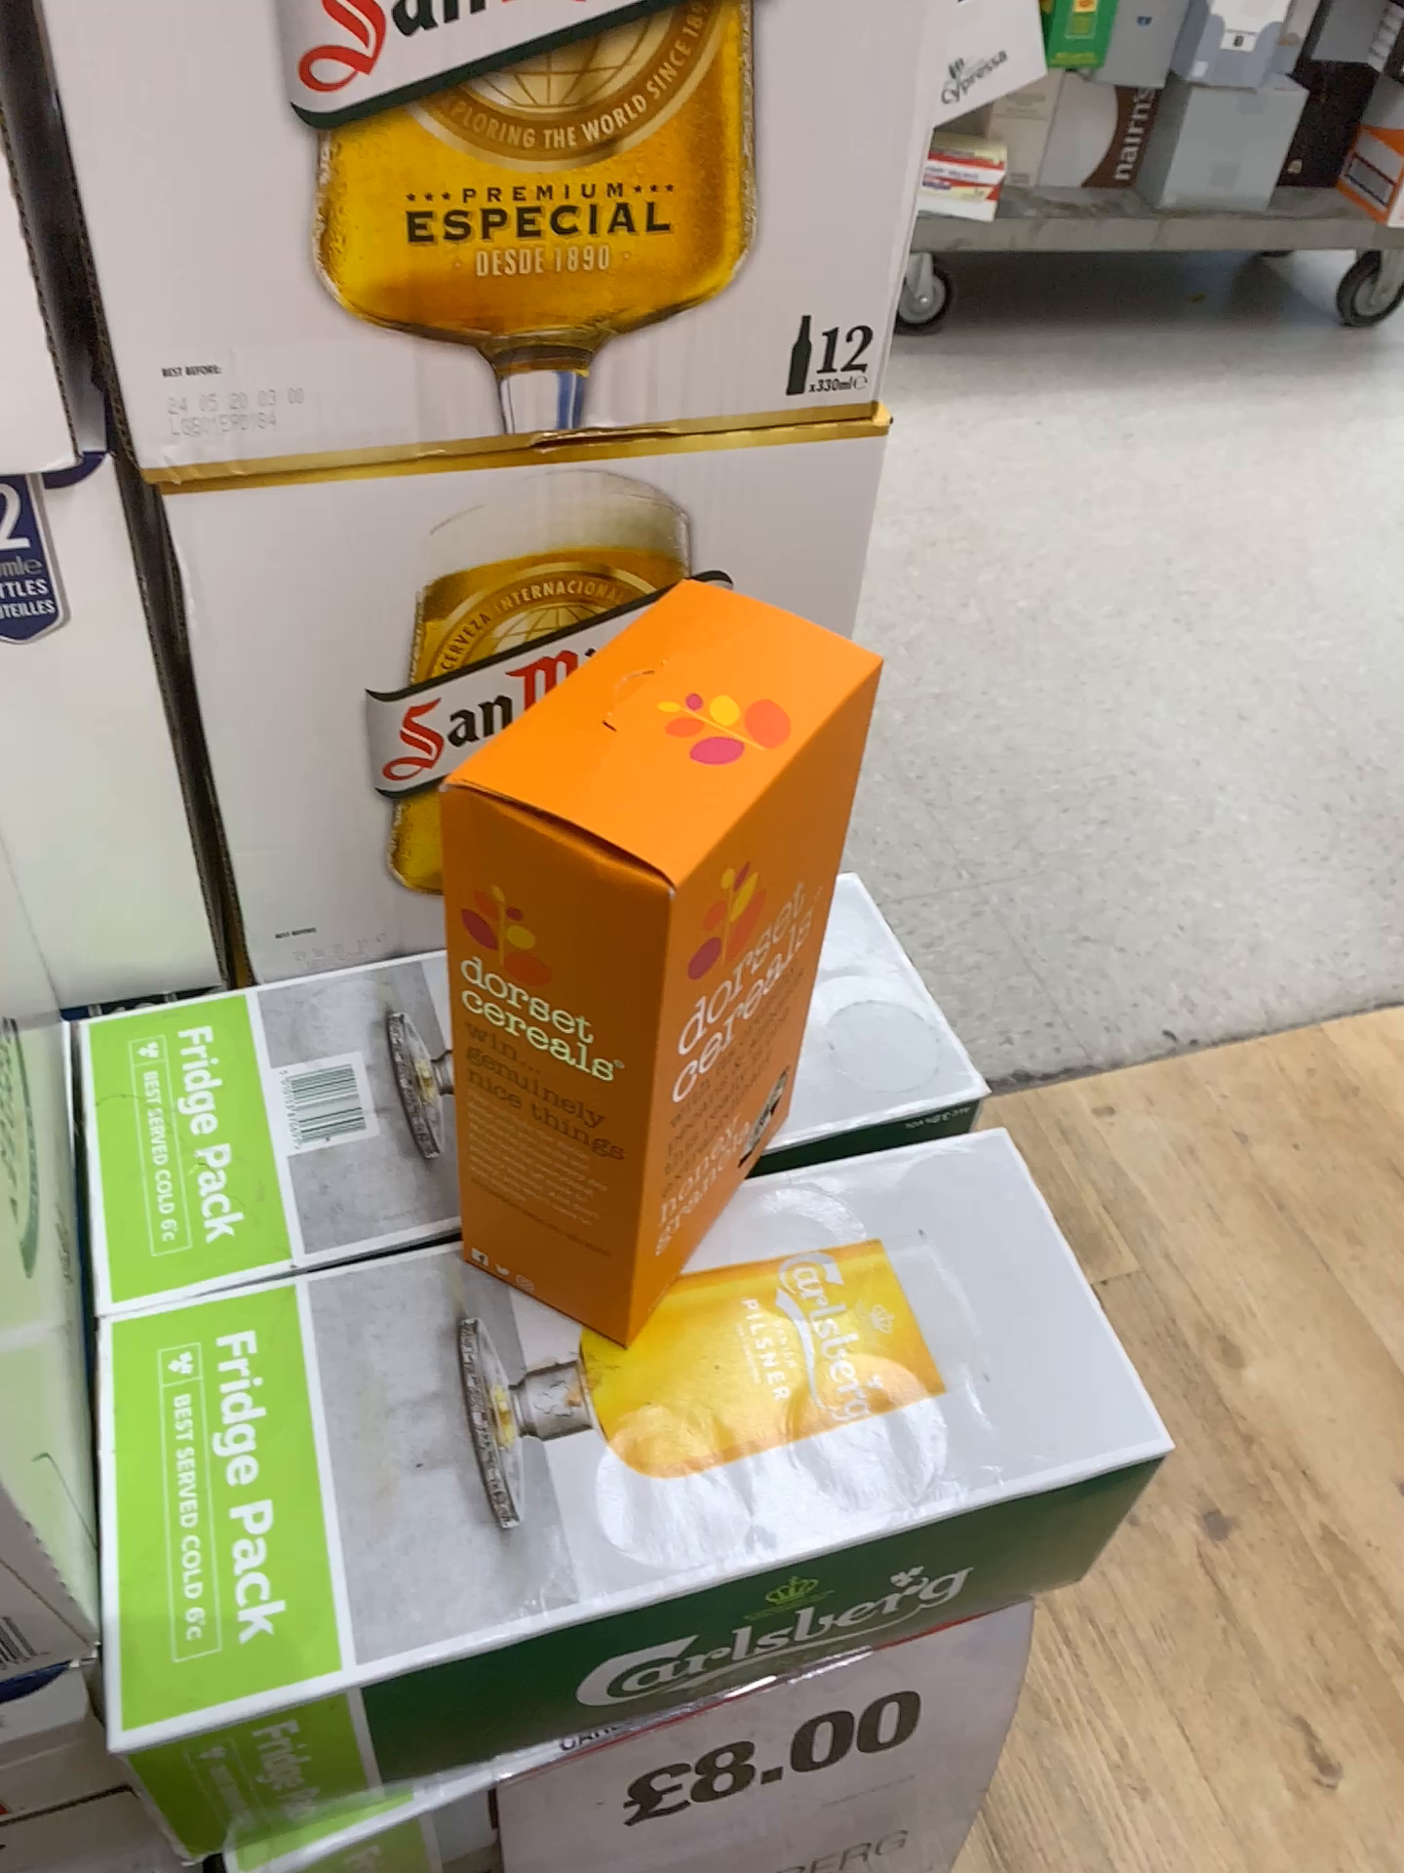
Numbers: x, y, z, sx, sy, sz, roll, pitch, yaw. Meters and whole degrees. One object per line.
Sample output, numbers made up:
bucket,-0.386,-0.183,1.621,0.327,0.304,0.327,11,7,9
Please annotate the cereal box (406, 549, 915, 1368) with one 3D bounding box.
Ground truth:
cereal box,-0.013,0.013,0.417,0.070,0.198,0.121,26,49,17
